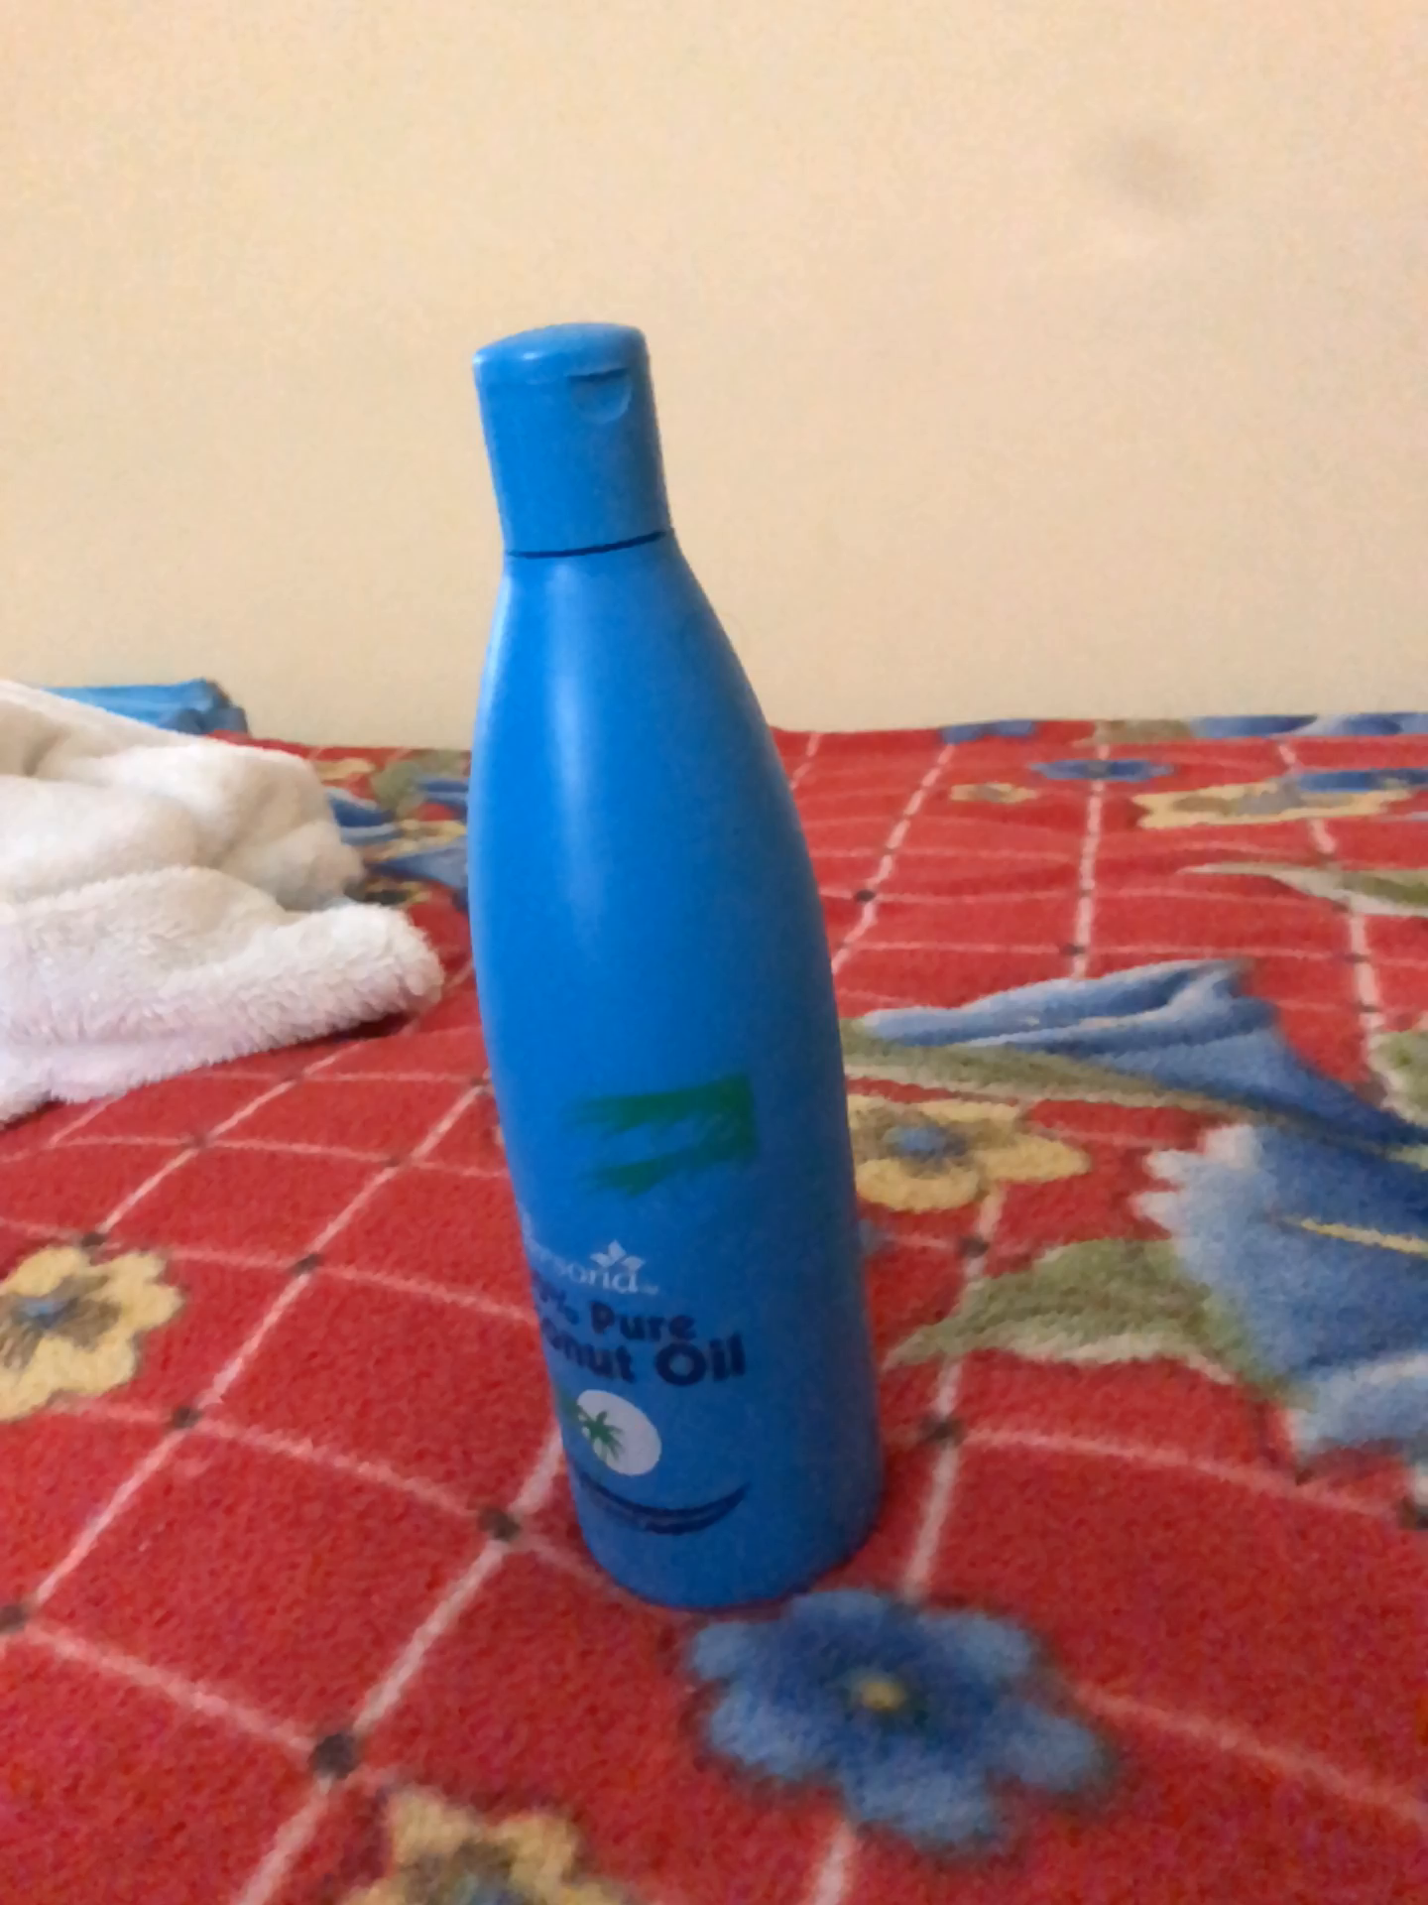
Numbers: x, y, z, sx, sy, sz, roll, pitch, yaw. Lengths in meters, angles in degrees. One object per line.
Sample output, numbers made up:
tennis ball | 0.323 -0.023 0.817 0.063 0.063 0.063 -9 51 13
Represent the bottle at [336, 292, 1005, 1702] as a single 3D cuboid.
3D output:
bottle | 0.002 0.009 0.287 0.070 0.229 0.070 -5 20 2
